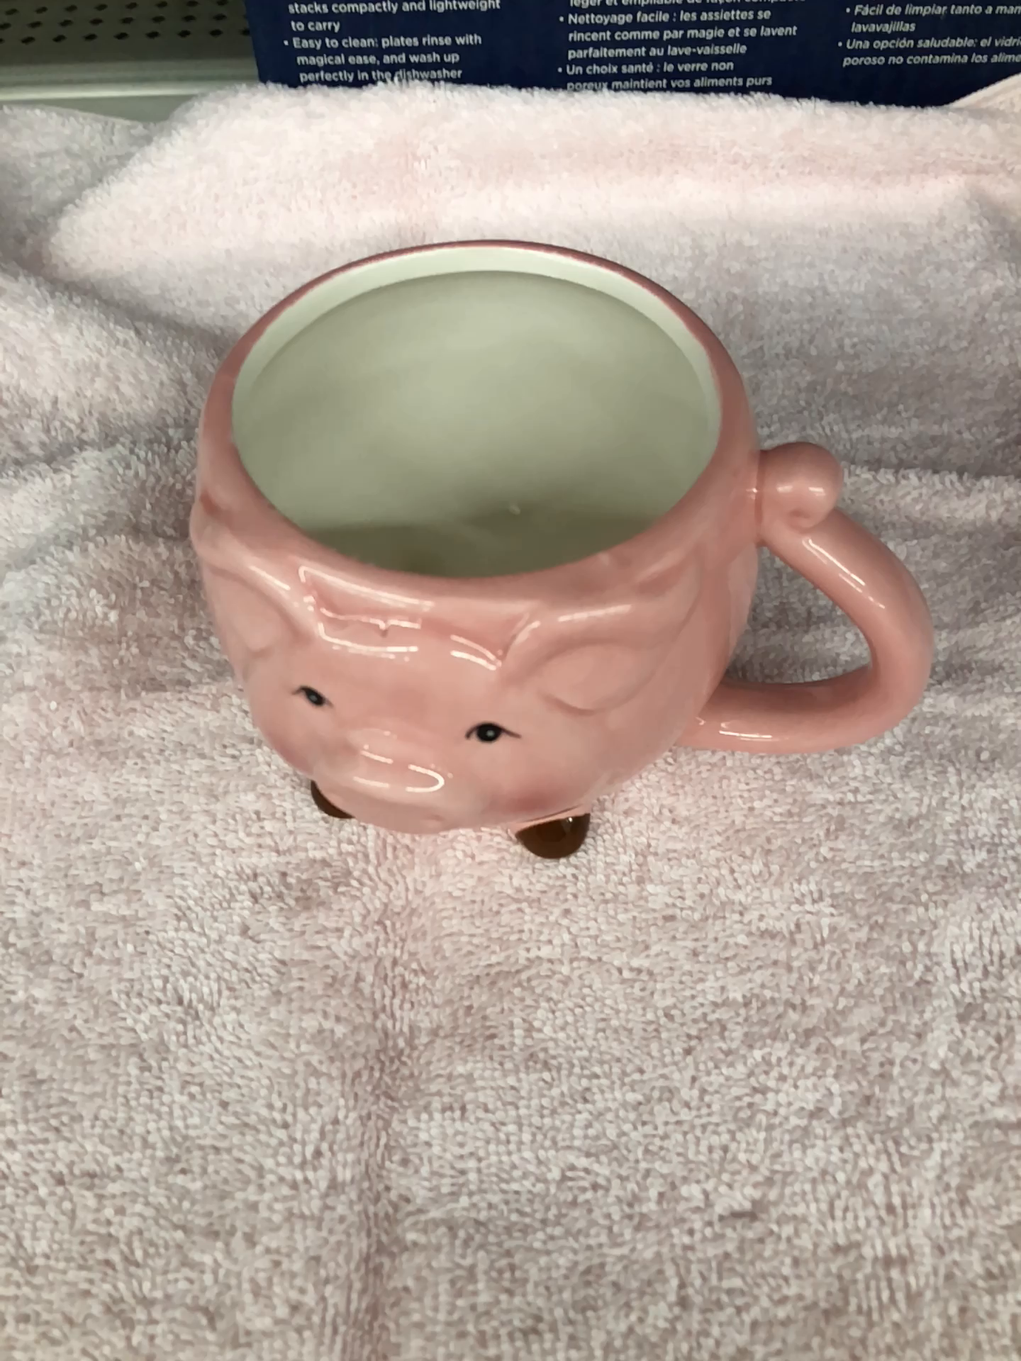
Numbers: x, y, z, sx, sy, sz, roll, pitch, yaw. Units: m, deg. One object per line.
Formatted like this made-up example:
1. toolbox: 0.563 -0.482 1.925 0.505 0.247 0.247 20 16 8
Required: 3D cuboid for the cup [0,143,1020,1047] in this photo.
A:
1. cup: 0.014 -0.017 0.207 0.150 0.090 0.100 15 58 10
